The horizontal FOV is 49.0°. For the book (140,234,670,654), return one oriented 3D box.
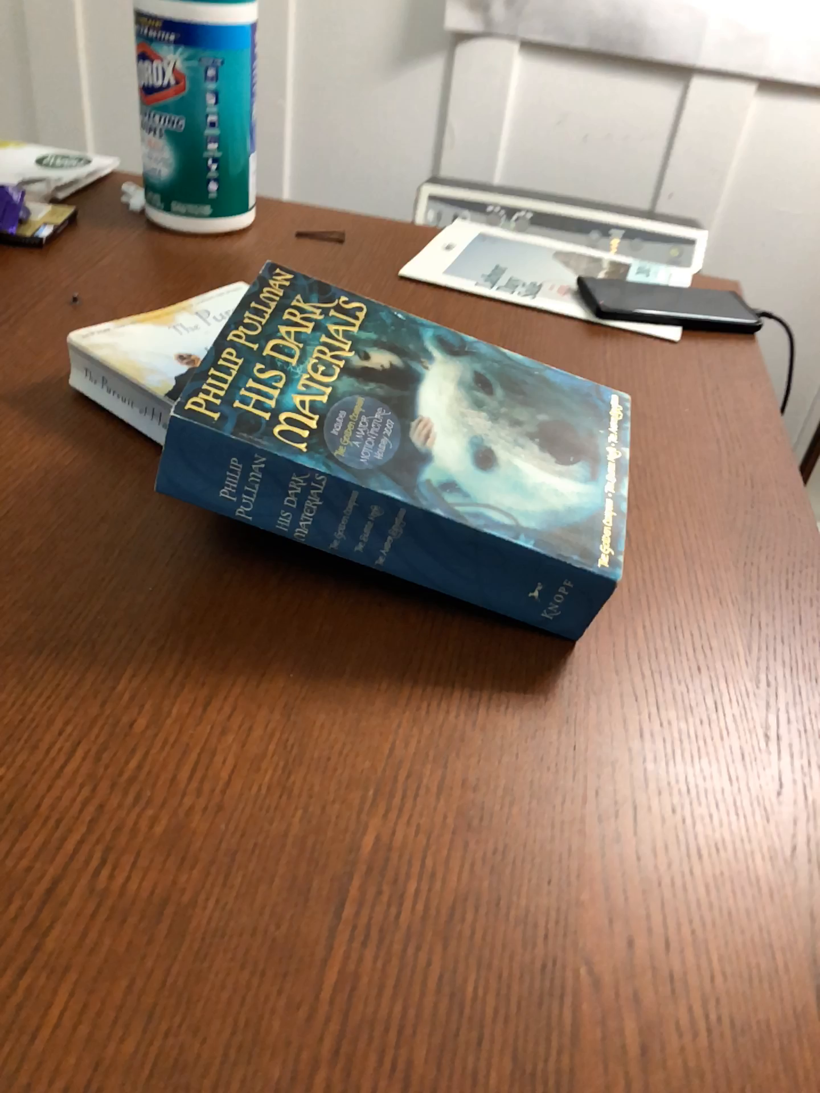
[{"bbox_3d":[0.008,-0.062,0.479,0.240,0.060,0.171,19,41,-7],"label":"book"}]

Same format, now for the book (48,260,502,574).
[{"bbox_3d":[-0.089,-0.100,0.584,0.240,0.040,0.171,35,50,28],"label":"book"}]
